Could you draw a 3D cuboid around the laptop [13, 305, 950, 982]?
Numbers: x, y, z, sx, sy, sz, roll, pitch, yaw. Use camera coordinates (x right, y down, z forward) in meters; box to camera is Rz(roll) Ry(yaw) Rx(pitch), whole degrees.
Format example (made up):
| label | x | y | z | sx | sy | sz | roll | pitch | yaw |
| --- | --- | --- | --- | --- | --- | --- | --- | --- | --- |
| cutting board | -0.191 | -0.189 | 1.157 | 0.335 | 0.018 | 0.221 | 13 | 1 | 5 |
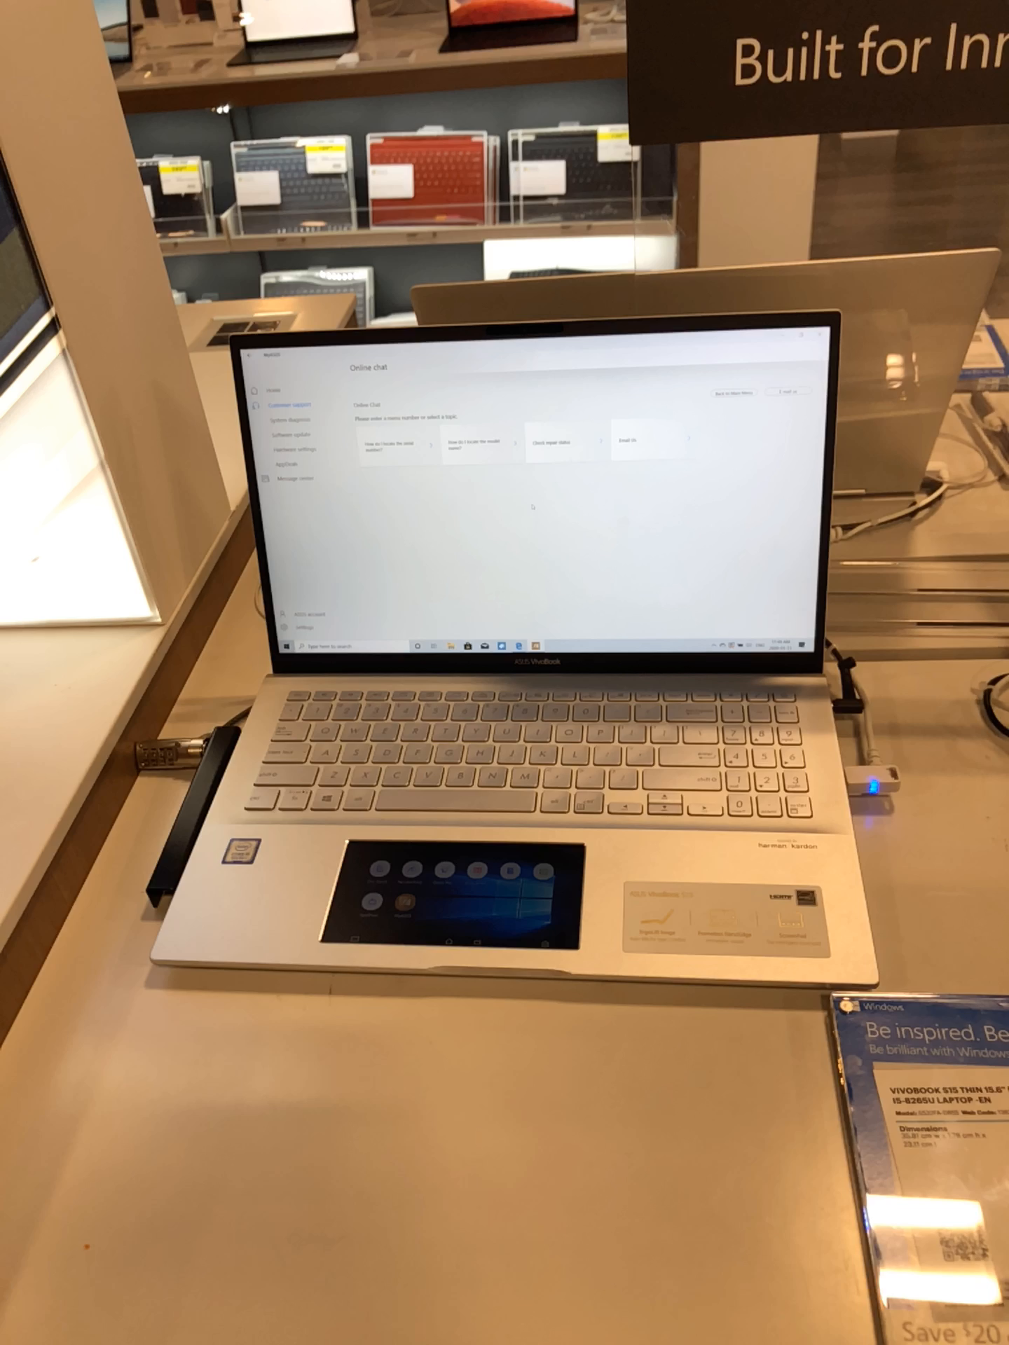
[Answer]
| label | x | y | z | sx | sy | sz | roll | pitch | yaw |
| --- | --- | --- | --- | --- | --- | --- | --- | --- | --- |
| laptop | 0.007 | -0.030 | 0.553 | 0.330 | 0.189 | 0.285 | 0 | 38 | 8 |
